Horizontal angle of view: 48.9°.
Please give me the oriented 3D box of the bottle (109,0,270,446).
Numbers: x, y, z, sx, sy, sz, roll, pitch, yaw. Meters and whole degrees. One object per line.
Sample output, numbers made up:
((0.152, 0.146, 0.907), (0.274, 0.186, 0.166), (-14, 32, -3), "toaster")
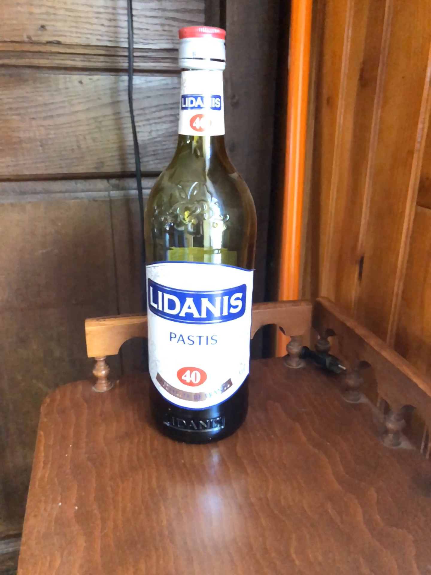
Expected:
((-0.013, -0.034, 0.353), (0.090, 0.299, 0.080), (2, 21, 5), "bottle")
